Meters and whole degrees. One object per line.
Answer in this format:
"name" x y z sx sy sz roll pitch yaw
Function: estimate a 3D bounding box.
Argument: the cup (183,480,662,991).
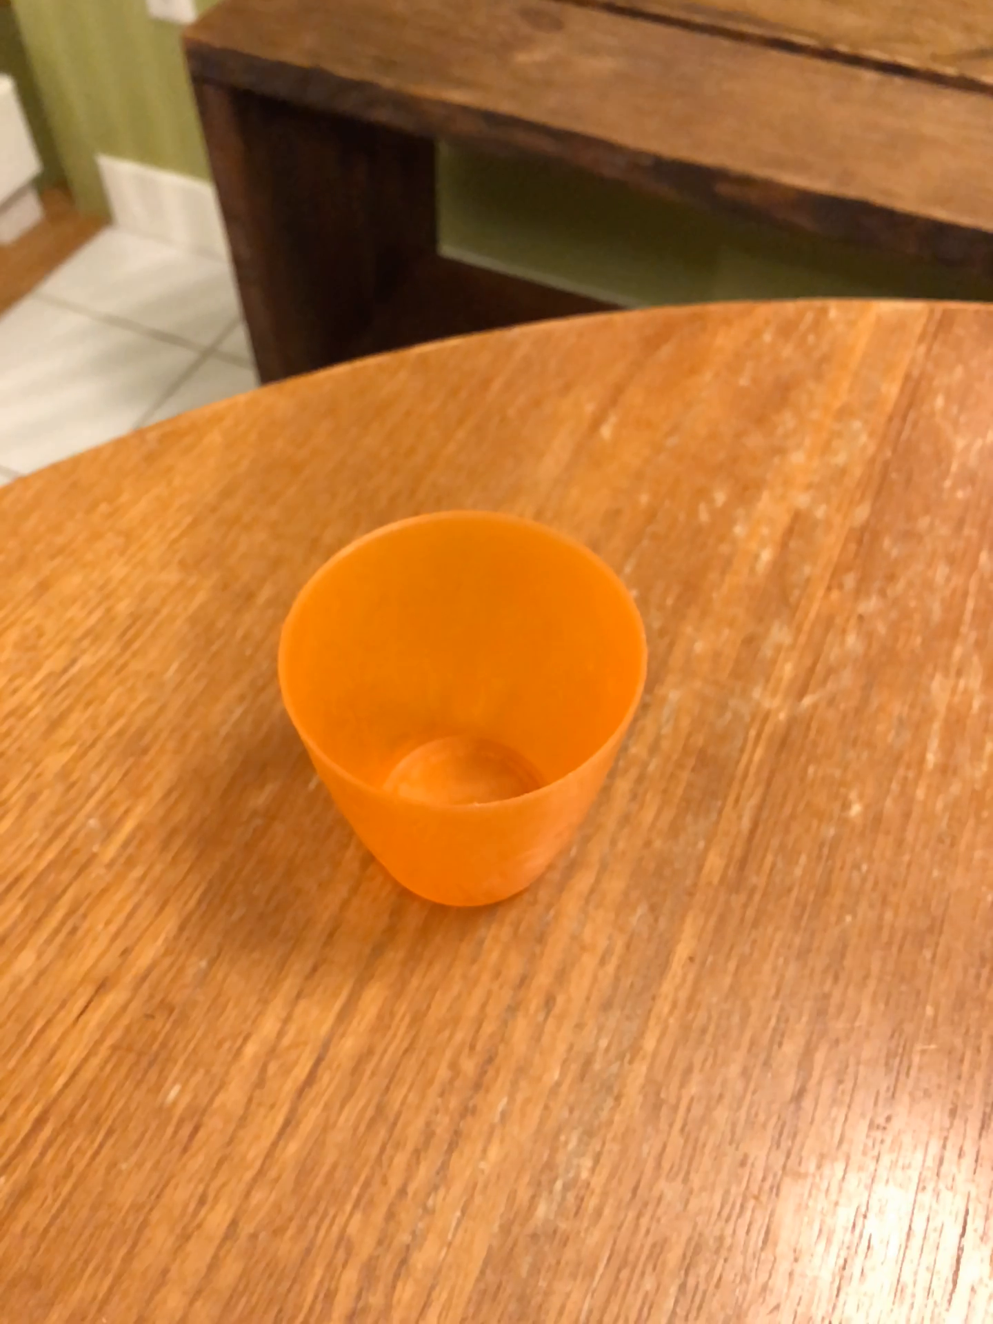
"cup" -0.012 0.017 0.257 0.079 0.066 0.080 0 54 -1
